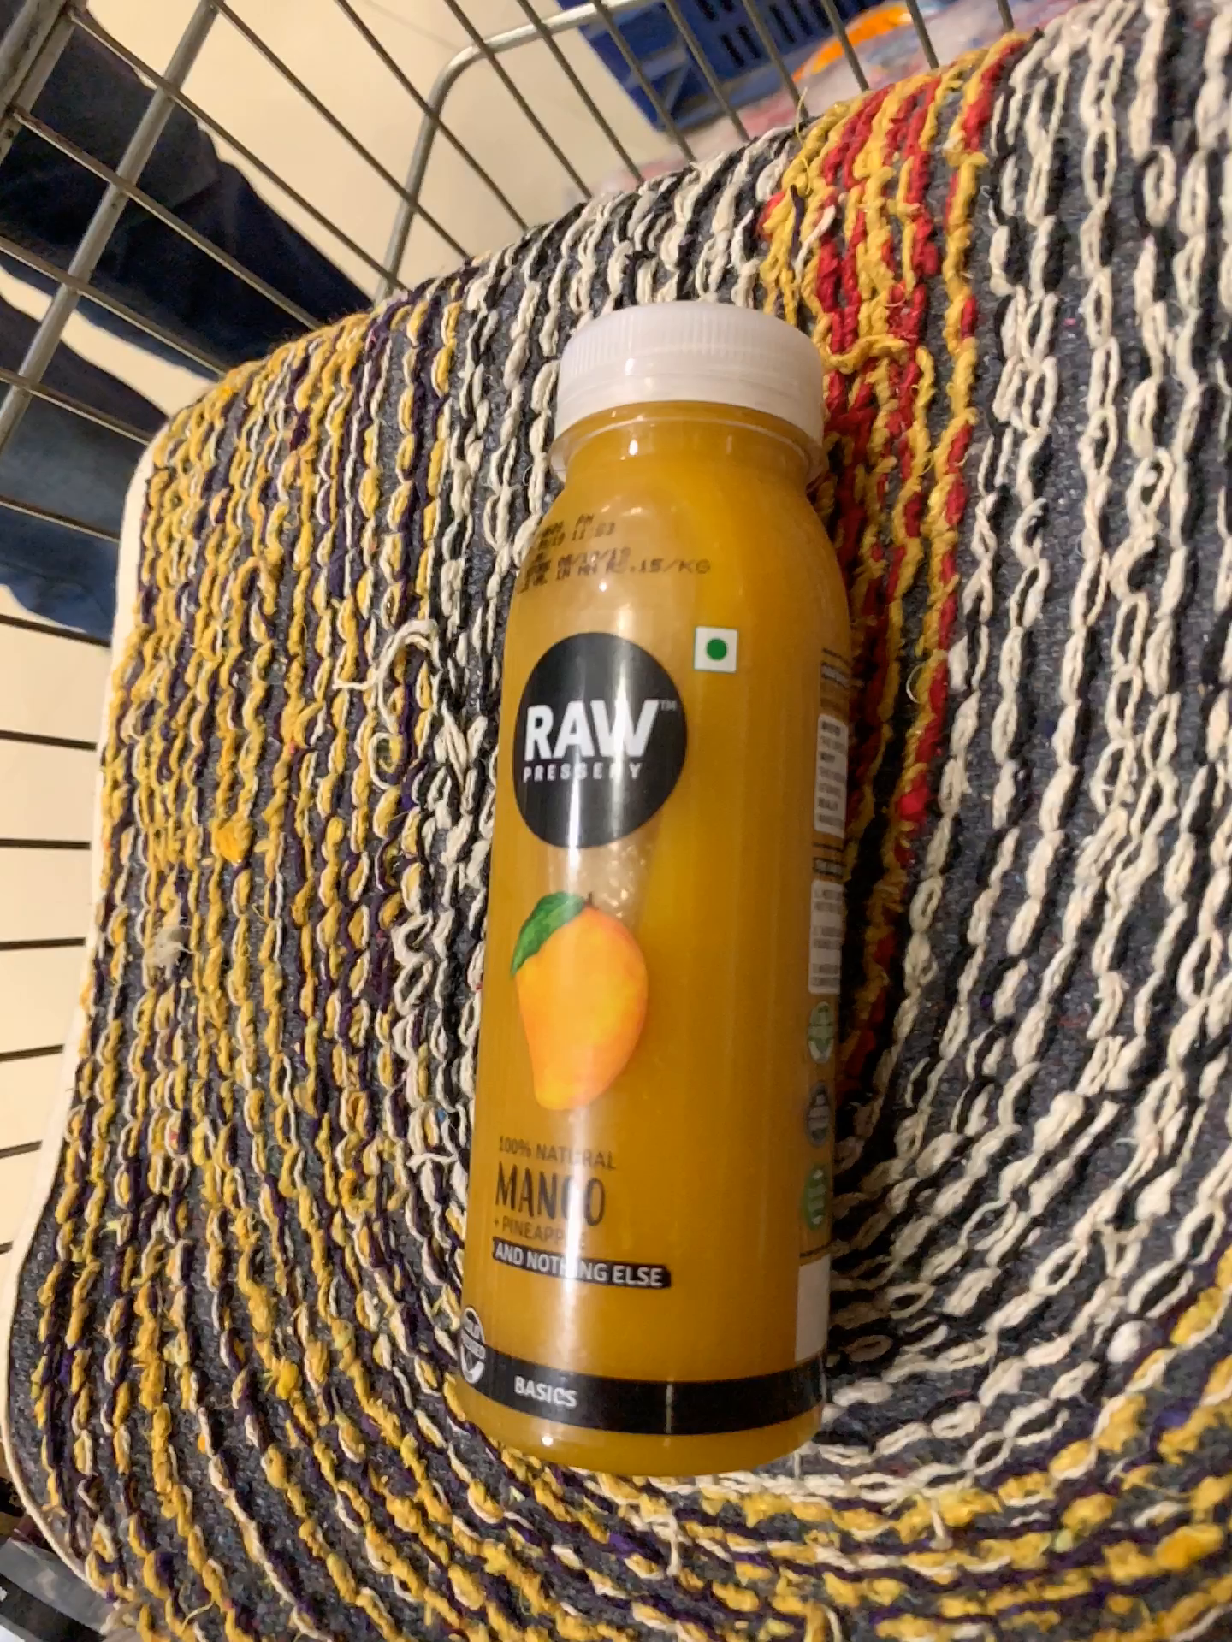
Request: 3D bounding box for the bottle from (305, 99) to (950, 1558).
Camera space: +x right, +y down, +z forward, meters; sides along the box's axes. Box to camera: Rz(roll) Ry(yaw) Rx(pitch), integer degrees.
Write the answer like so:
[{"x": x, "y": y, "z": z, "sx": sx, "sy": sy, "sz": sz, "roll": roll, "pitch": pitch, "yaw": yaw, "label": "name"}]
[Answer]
[{"x": 0.006, "y": -0.002, "z": 0.184, "sx": 0.060, "sy": 0.050, "sz": 0.170, "roll": 0, "pitch": 81, "yaw": 32, "label": "bottle"}]
